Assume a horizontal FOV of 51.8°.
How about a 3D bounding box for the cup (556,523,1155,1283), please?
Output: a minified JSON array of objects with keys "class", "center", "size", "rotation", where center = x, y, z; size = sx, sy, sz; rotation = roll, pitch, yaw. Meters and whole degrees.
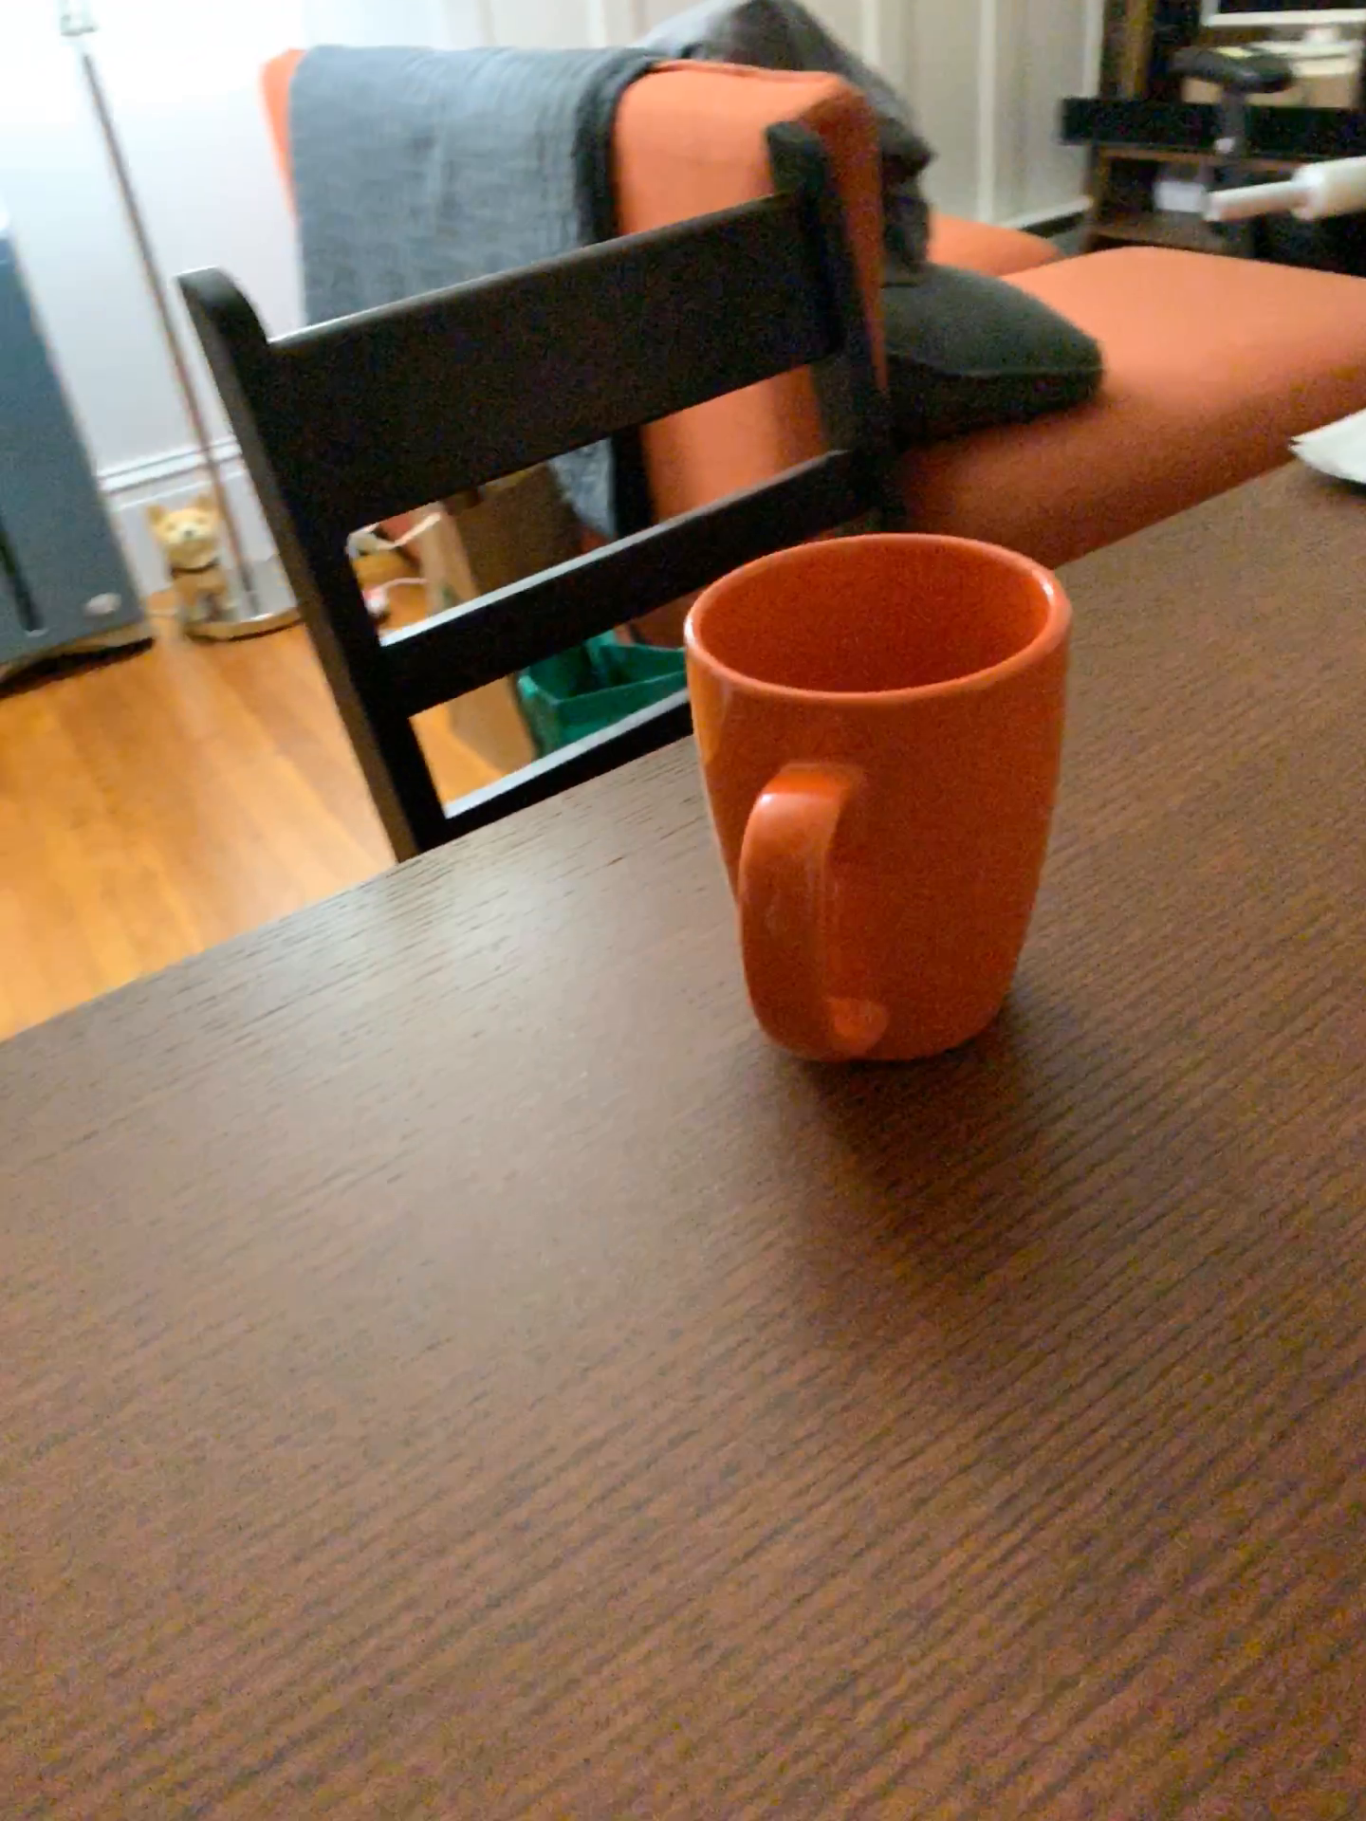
[{"class":"cup","center":[0.049,-0.010,0.320],"size":[0.100,0.109,0.131],"rotation":[5,38,17]}]
